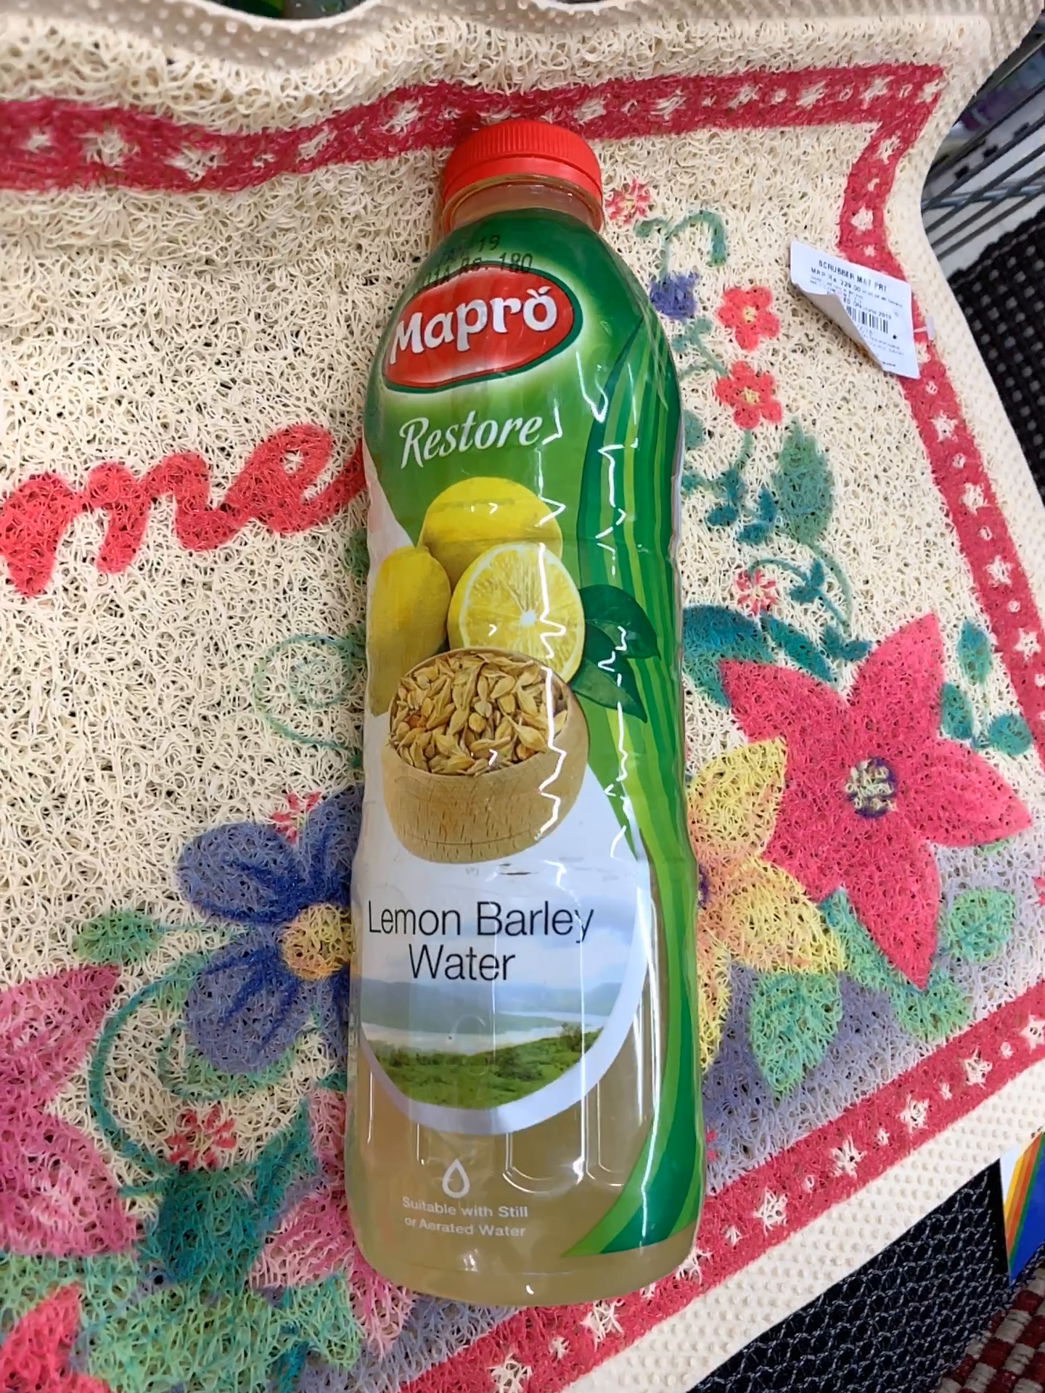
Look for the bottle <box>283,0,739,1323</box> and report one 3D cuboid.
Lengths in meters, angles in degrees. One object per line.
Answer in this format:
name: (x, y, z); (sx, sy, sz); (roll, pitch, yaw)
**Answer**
bottle: (0.000, -0.017, 0.256); (0.080, 0.090, 0.270); (-3, 80, 7)
